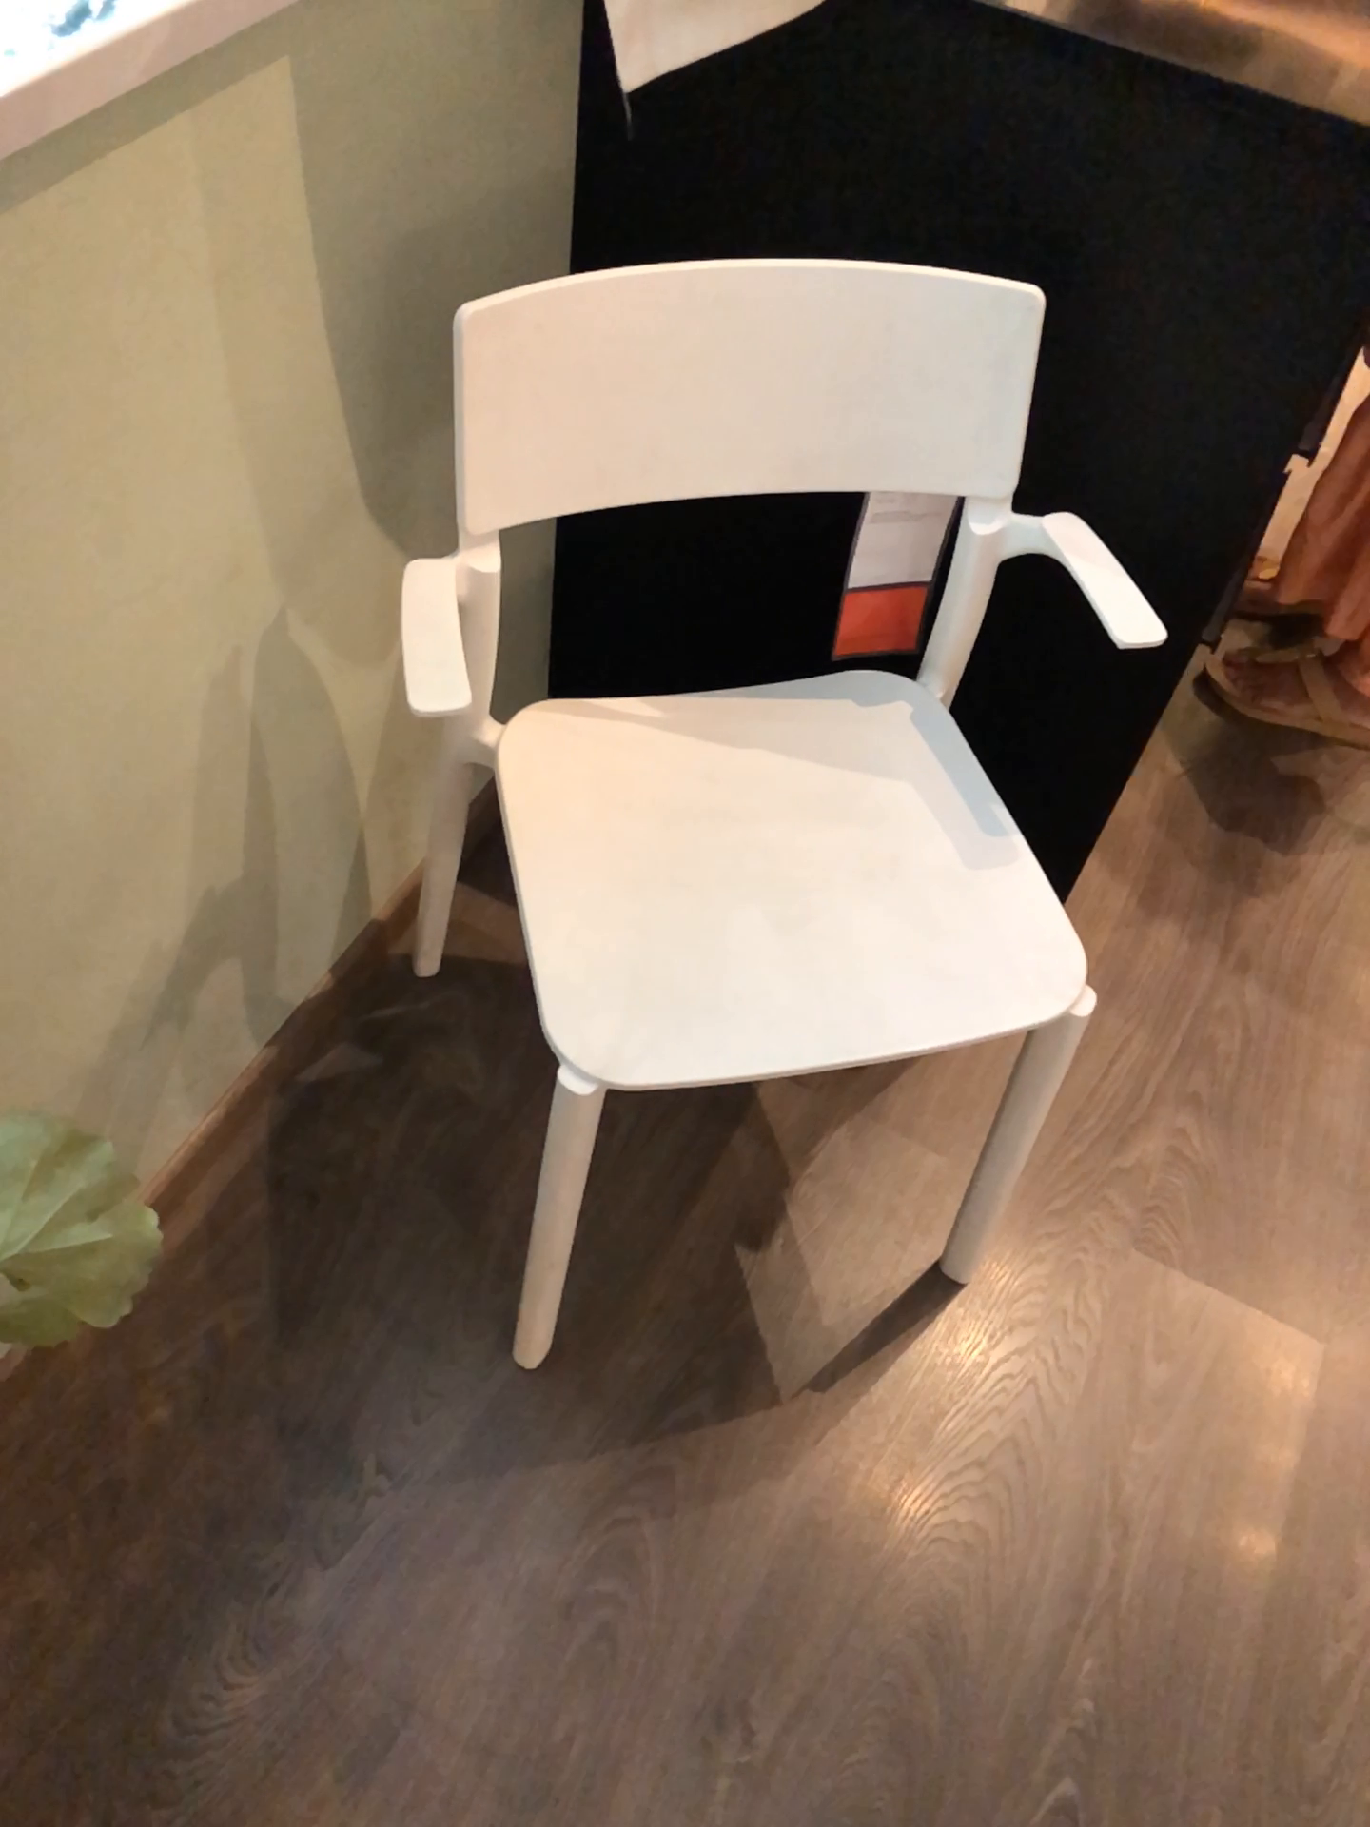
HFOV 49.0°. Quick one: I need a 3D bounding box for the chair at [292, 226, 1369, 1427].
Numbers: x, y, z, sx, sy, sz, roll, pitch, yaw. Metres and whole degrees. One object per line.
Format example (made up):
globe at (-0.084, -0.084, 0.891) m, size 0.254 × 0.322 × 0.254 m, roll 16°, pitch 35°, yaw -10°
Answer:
chair at (0.027, -0.047, 1.250) m, size 0.560 × 0.756 × 0.583 m, roll -8°, pitch 53°, yaw -13°
